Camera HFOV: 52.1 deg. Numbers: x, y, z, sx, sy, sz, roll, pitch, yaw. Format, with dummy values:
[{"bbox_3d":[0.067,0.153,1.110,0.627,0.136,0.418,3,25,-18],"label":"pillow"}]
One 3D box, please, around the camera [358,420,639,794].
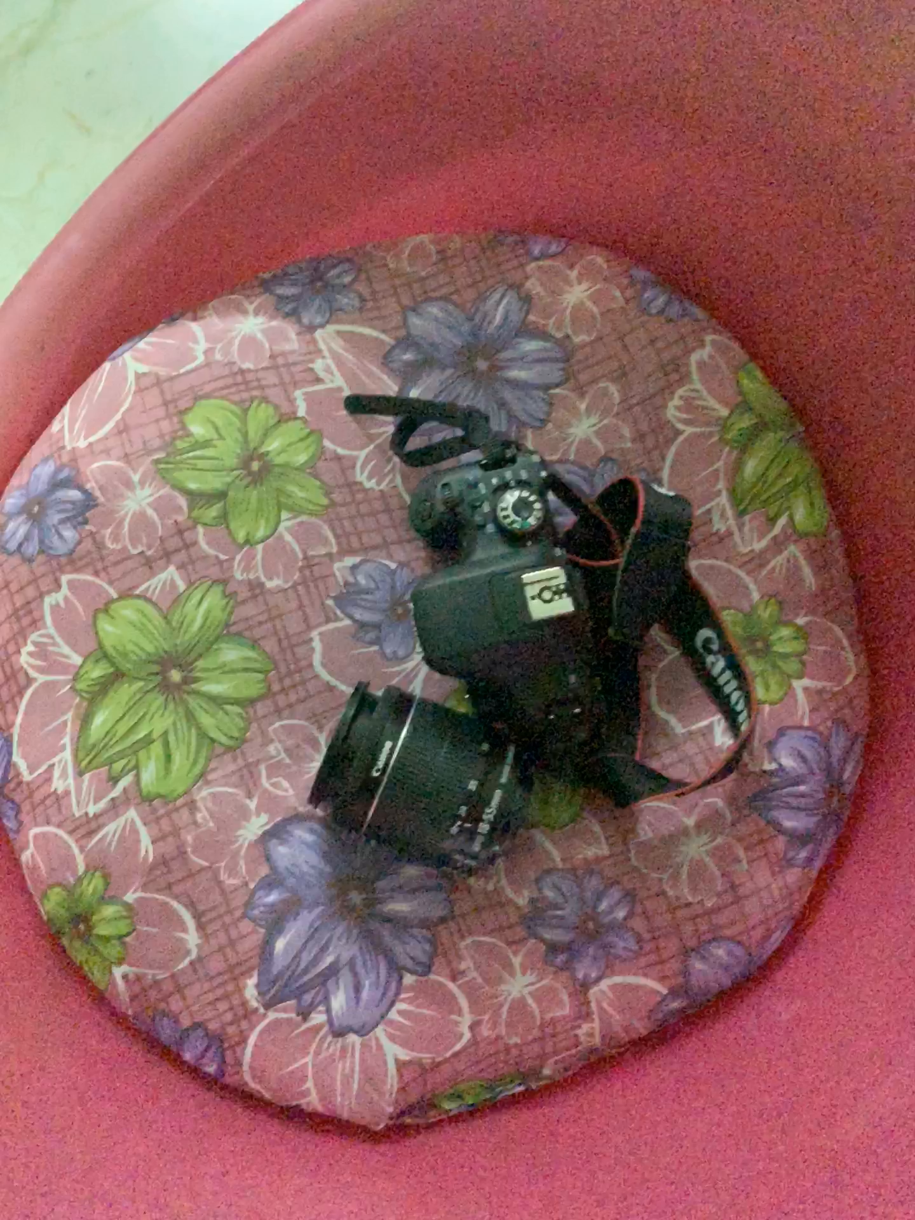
[{"bbox_3d":[0.016,0.002,0.438,0.086,0.079,0.143,-15,75,-2],"label":"camera"}]
